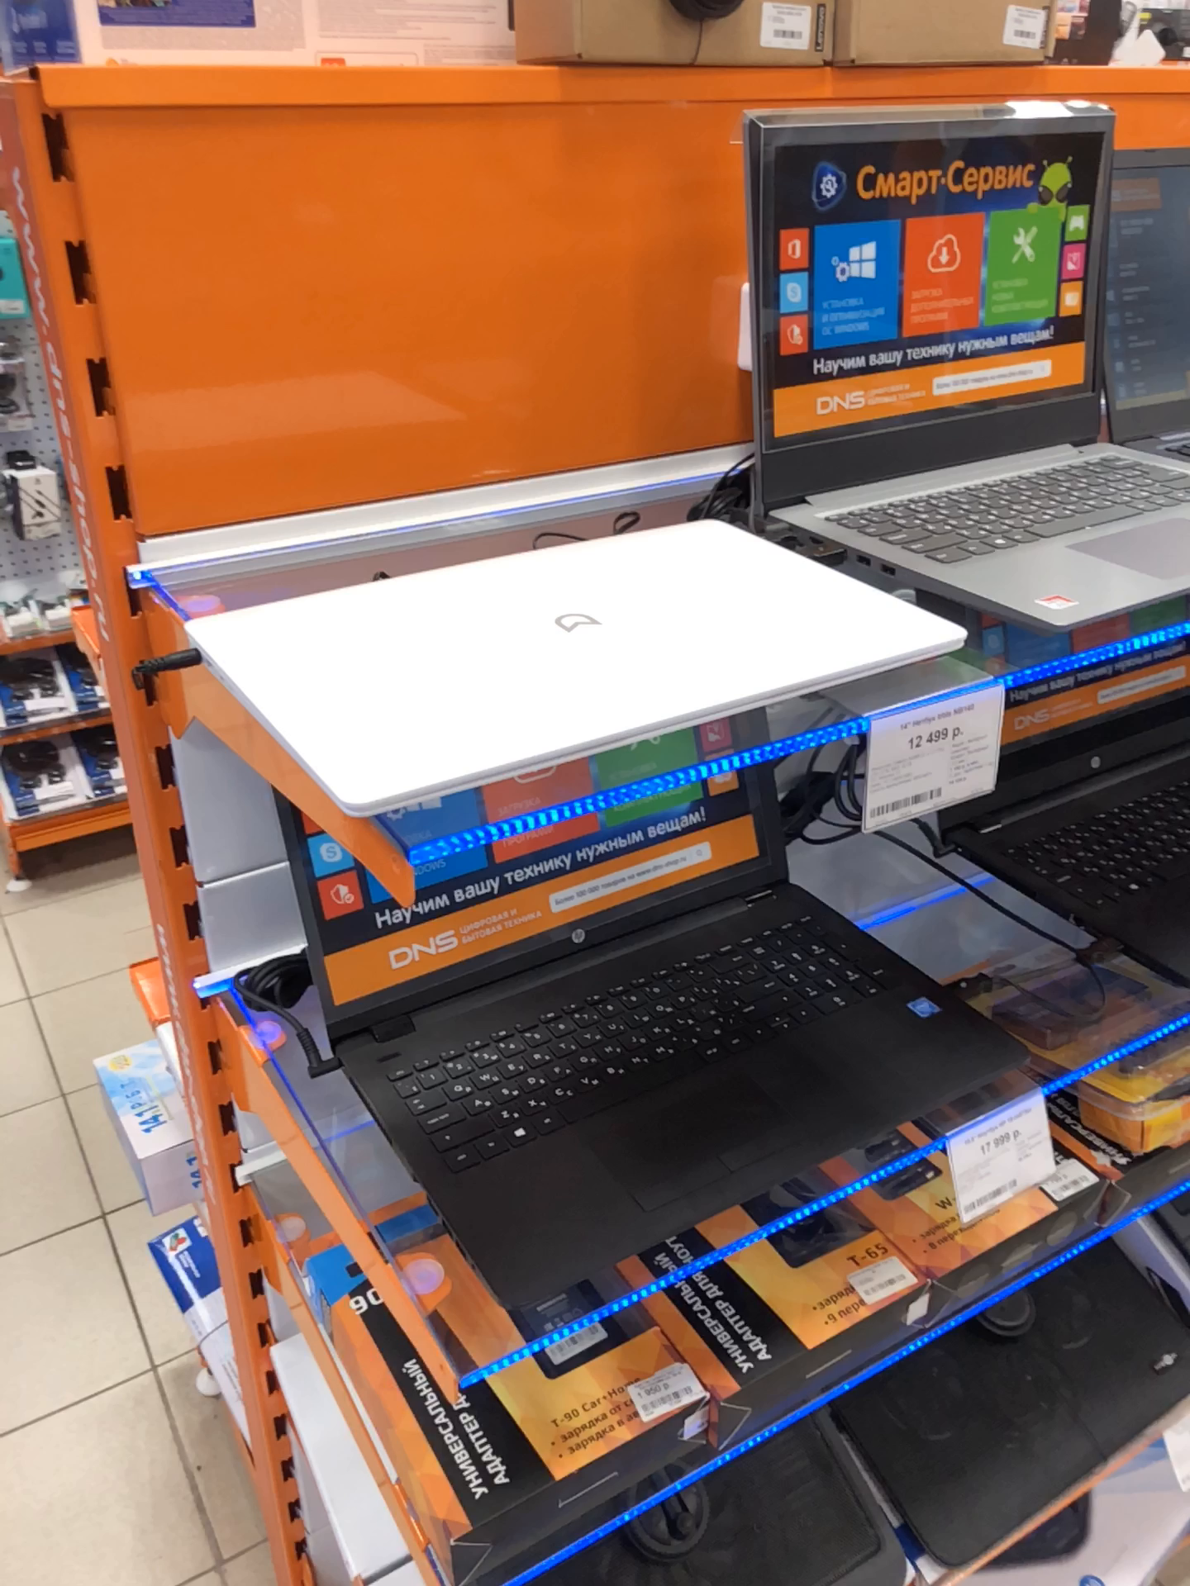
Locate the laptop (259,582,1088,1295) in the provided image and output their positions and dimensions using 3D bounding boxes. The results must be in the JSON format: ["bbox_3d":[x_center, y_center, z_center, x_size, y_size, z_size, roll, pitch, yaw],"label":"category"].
[{"bbox_3d":[0.032,0.052,0.808,0.364,0.228,0.307,-16,31,-25],"label":"laptop"}]

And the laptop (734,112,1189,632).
[{"bbox_3d":[0.304,-0.283,0.788,0.344,0.224,0.280,-18,33,-29],"label":"laptop"}]

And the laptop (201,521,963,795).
[{"bbox_3d":[-0.008,-0.083,0.644,0.313,0.002,0.212,-17,33,-28],"label":"laptop"}]
